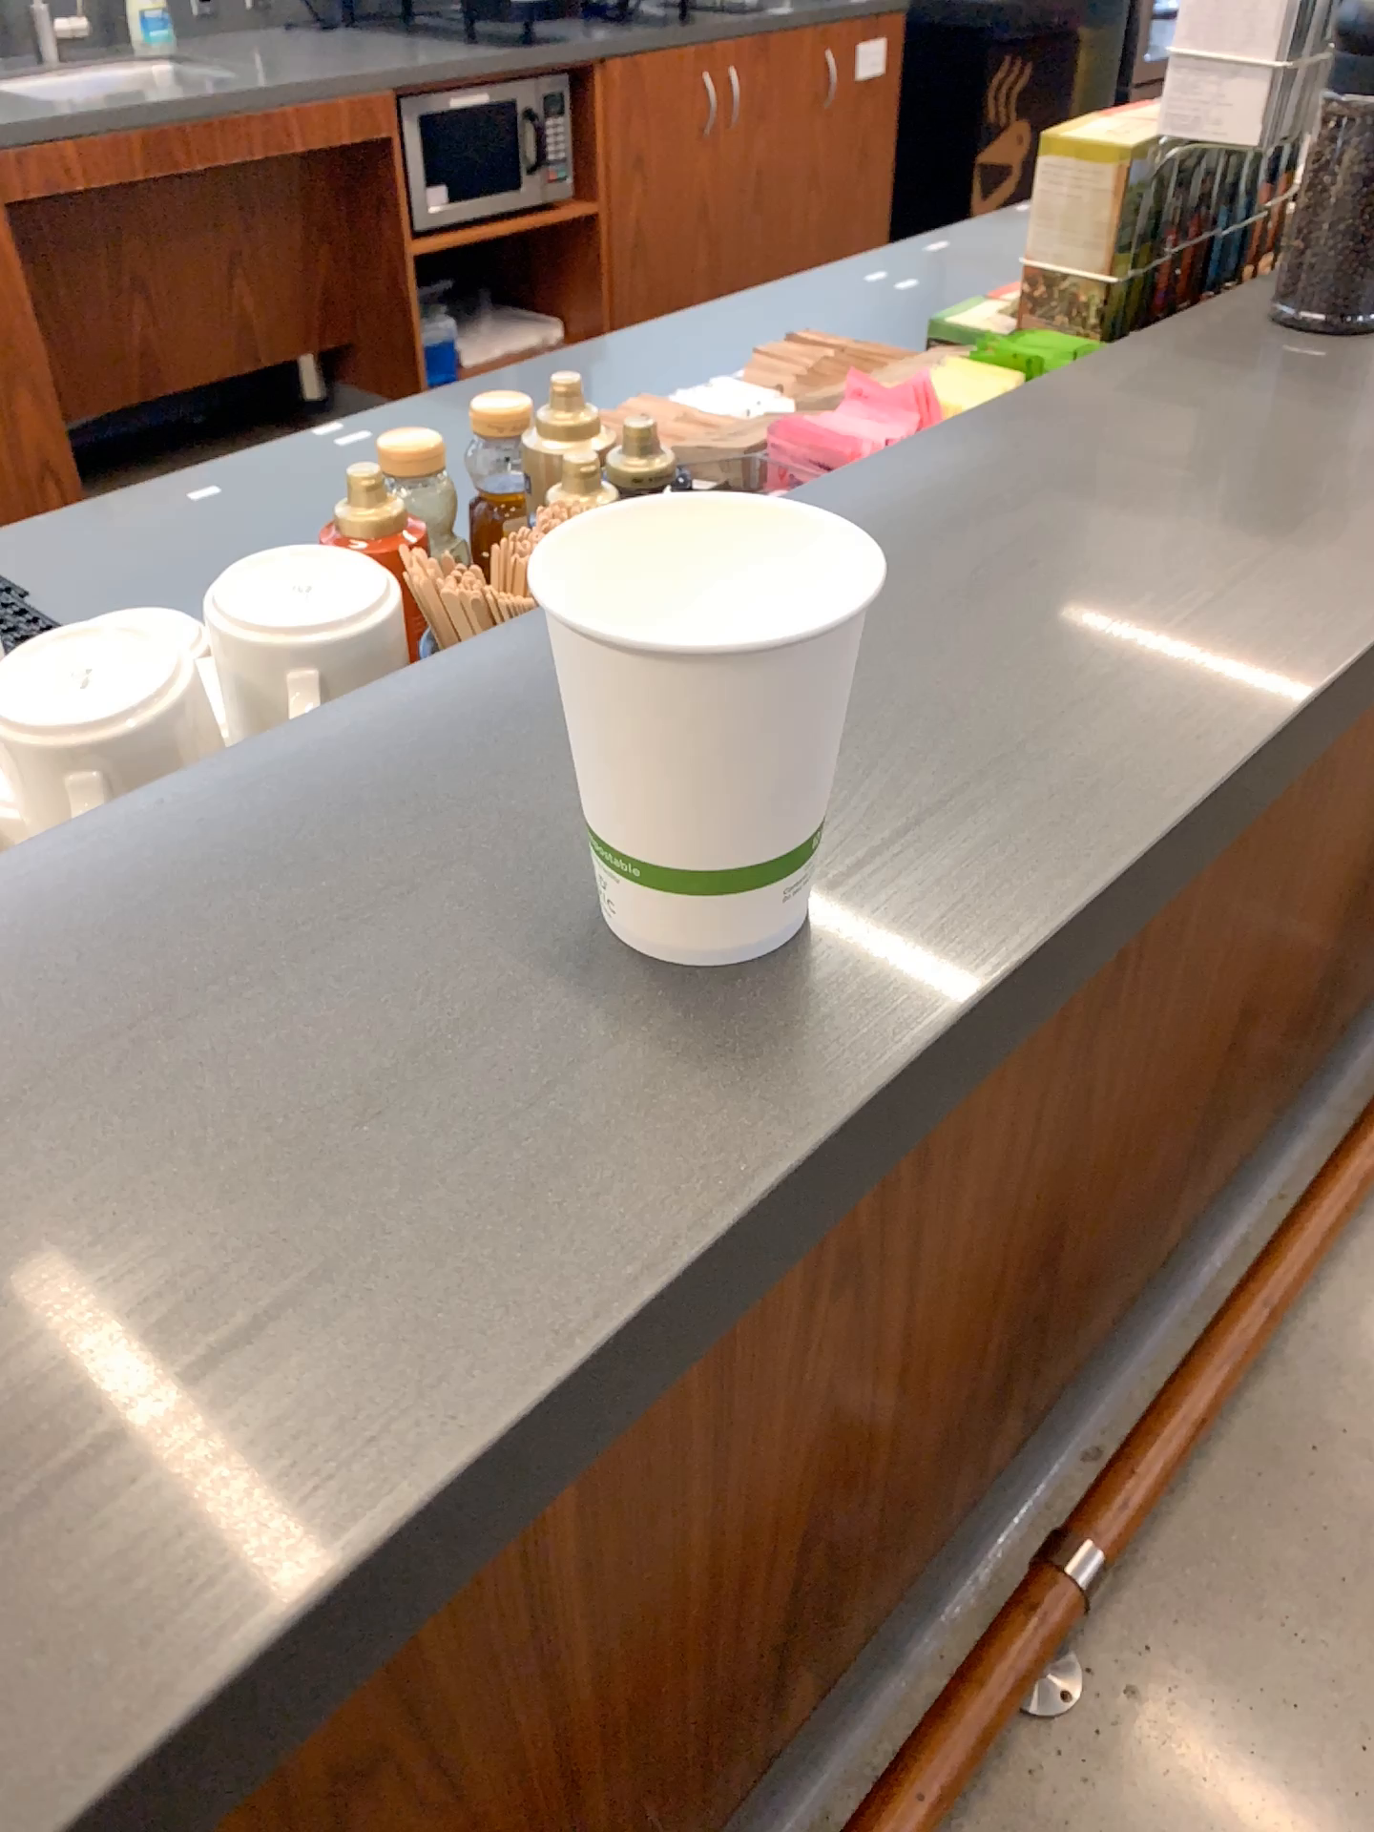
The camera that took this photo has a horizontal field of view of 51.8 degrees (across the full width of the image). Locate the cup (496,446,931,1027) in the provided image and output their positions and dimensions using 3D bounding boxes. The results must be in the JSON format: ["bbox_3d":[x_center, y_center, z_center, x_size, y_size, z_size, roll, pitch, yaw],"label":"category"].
[{"bbox_3d":[0.009,-0.051,0.390,0.080,0.119,0.080,0,38,0],"label":"cup"}]
